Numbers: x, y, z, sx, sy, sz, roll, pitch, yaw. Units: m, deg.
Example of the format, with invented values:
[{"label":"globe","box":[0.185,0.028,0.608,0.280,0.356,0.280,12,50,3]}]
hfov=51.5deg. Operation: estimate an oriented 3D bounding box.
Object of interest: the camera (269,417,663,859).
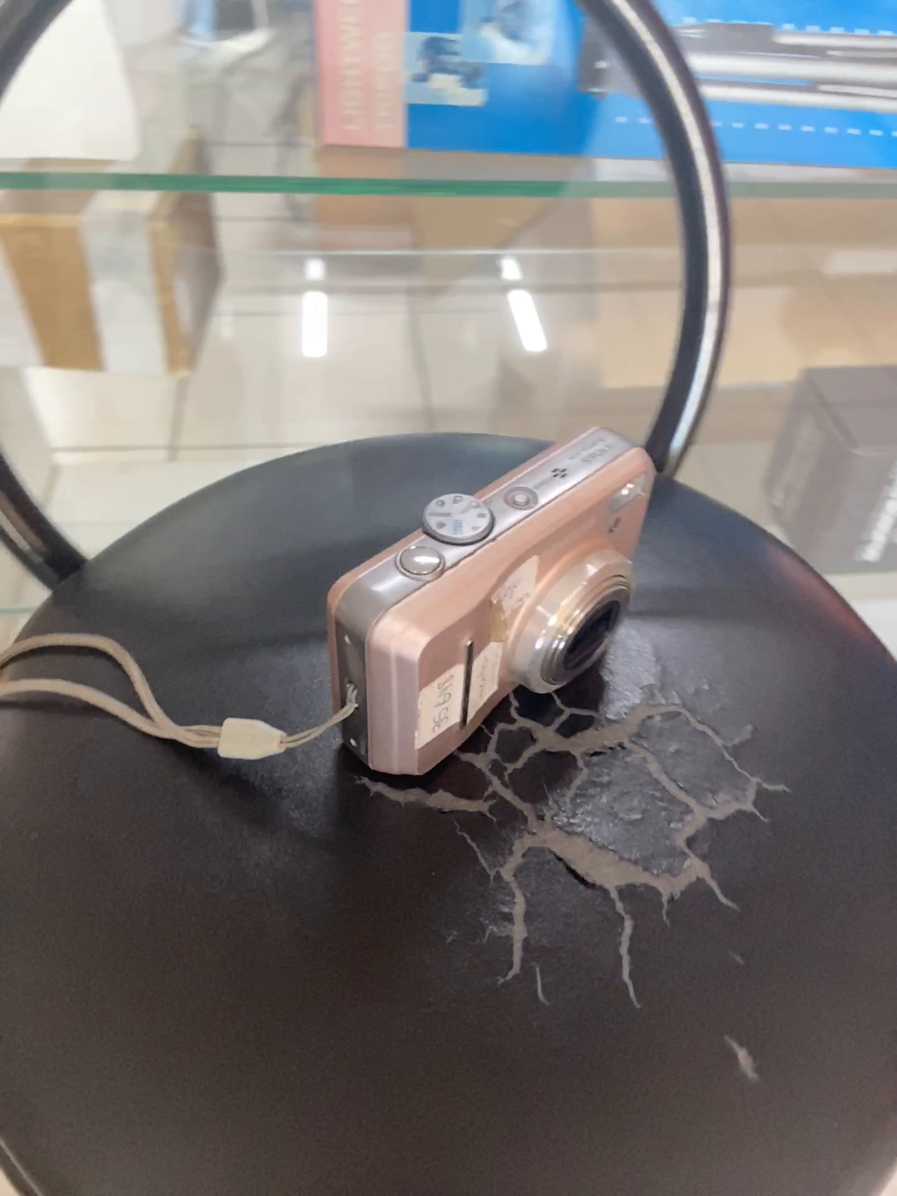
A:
[{"label":"camera","box":[0.007,0.008,0.254,0.040,0.070,0.100,34,53,28]}]
